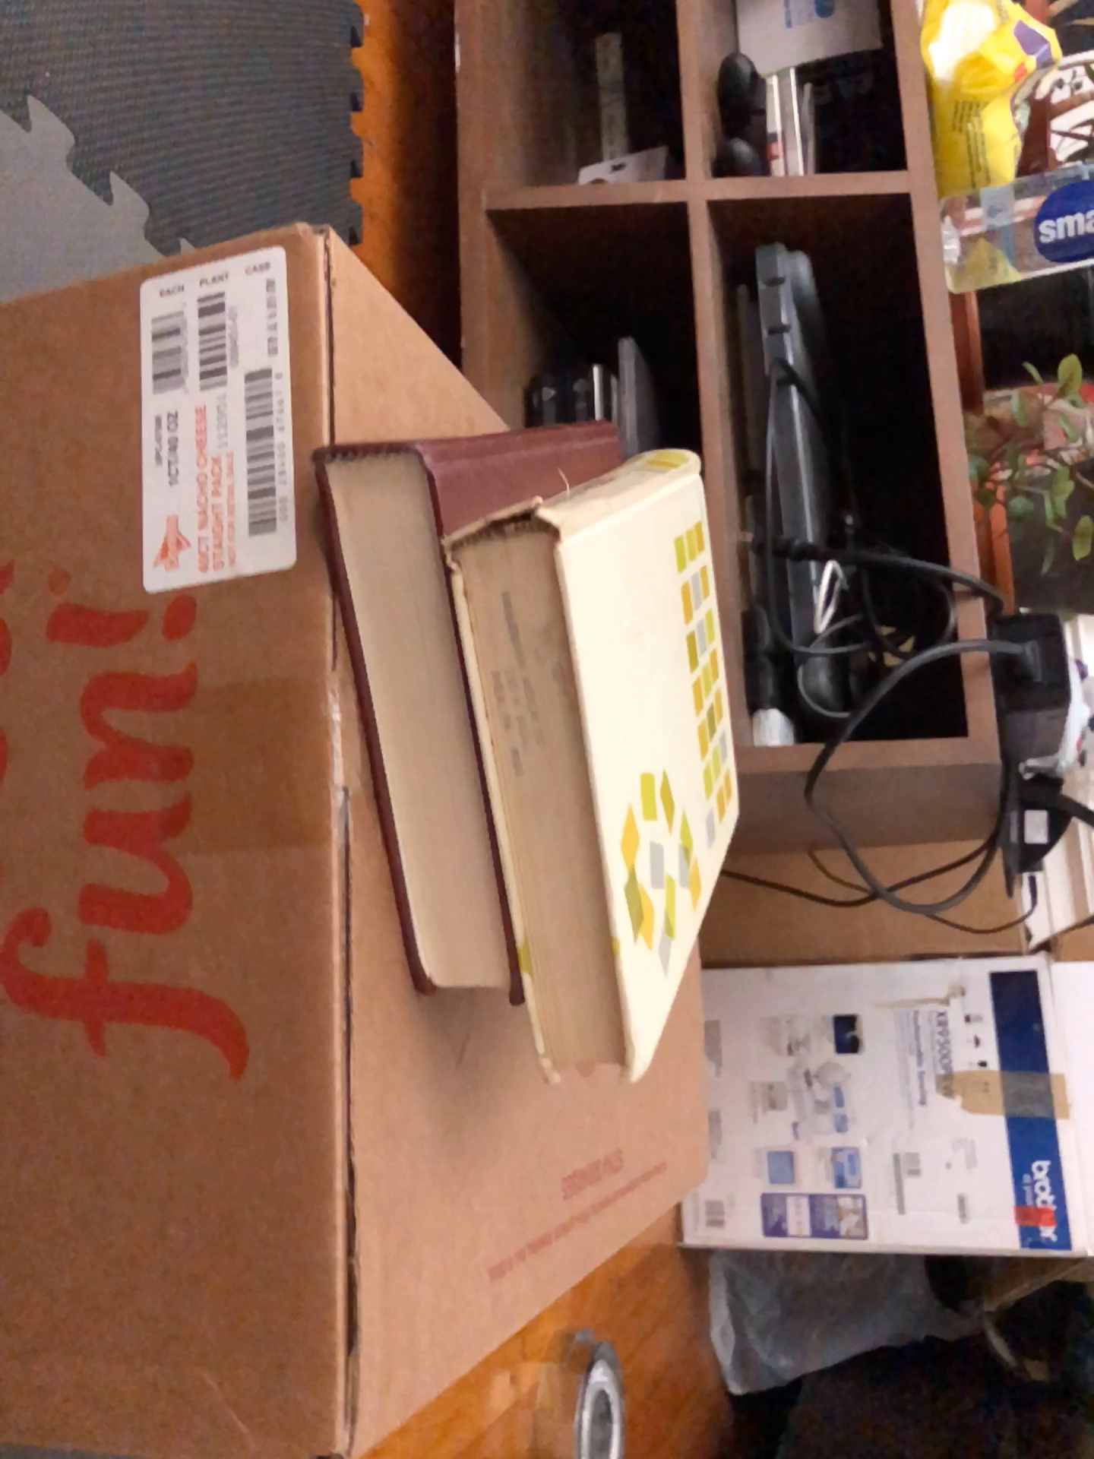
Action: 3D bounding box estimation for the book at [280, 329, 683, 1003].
[{"bbox_3d":[-0.002,-0.040,0.443,0.251,0.040,0.180,-42,124,-70],"label":"book"}]

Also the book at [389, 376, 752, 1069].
[{"bbox_3d":[0.028,-0.028,0.428,0.251,0.040,0.180,-49,130,-68],"label":"book"}]
